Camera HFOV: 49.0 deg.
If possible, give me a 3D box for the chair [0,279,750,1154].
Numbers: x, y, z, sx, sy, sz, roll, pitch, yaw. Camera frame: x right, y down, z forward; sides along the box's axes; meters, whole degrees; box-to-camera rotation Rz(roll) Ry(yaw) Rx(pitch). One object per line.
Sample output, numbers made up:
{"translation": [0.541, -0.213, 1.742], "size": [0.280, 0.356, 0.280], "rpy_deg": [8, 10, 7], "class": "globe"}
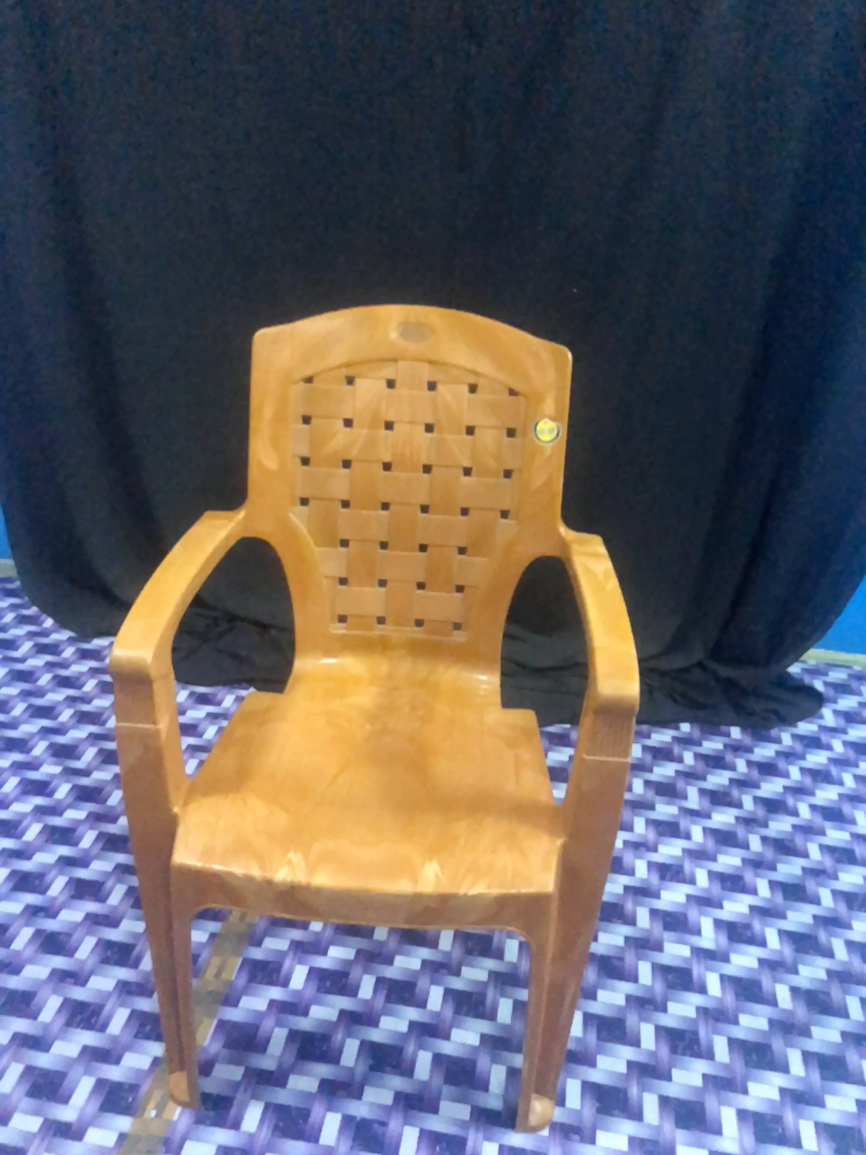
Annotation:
{"translation": [-0.065, 0.128, 1.160], "size": [0.600, 0.786, 0.664], "rpy_deg": [5, 29, 3], "class": "chair"}
